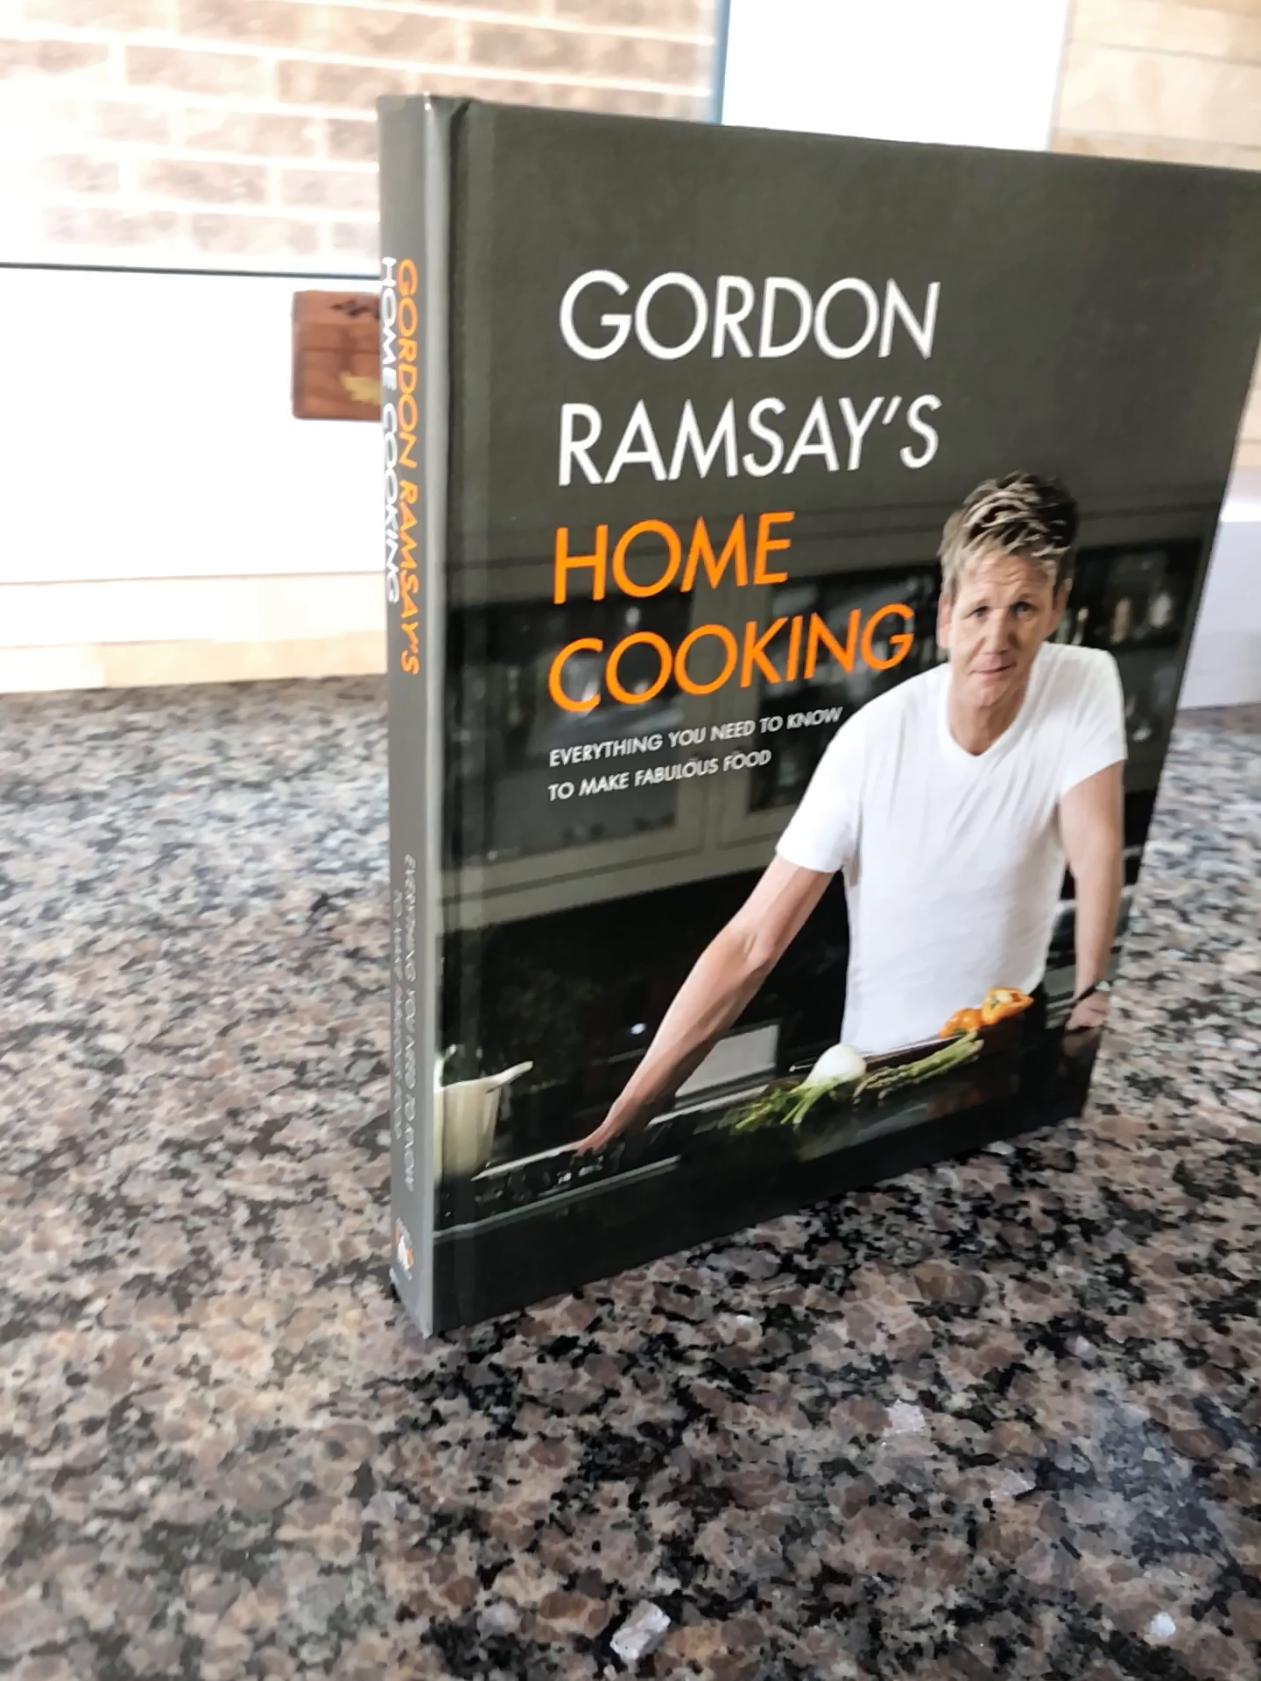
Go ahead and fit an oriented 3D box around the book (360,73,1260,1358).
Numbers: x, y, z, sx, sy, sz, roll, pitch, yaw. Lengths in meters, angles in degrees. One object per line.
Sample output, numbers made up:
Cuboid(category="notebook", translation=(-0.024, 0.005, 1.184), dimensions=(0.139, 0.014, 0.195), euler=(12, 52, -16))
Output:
Cuboid(category="book", translation=(0.048, -0.023, 0.333), dimensions=(0.217, 0.261, 0.028), euler=(-10, 27, -28))
